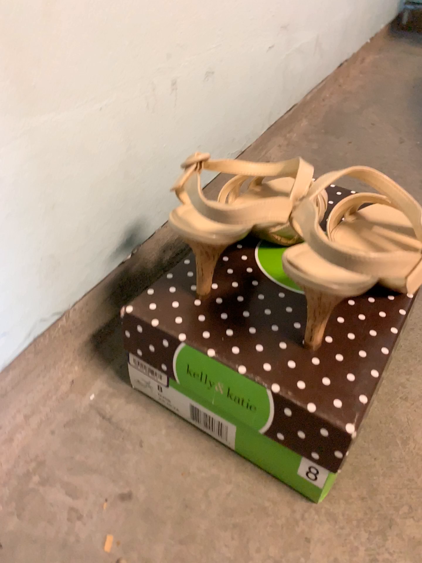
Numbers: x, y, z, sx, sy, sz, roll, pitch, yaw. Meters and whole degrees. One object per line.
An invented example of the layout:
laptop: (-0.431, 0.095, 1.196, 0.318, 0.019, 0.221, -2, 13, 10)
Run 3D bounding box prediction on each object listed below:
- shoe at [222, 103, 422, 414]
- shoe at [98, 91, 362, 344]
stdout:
shoe: (0.118, -0.042, 0.330, 0.100, 0.109, 0.242, 24, 43, 25)
shoe: (0.031, -0.076, 0.383, 0.100, 0.109, 0.242, 24, 43, 25)
